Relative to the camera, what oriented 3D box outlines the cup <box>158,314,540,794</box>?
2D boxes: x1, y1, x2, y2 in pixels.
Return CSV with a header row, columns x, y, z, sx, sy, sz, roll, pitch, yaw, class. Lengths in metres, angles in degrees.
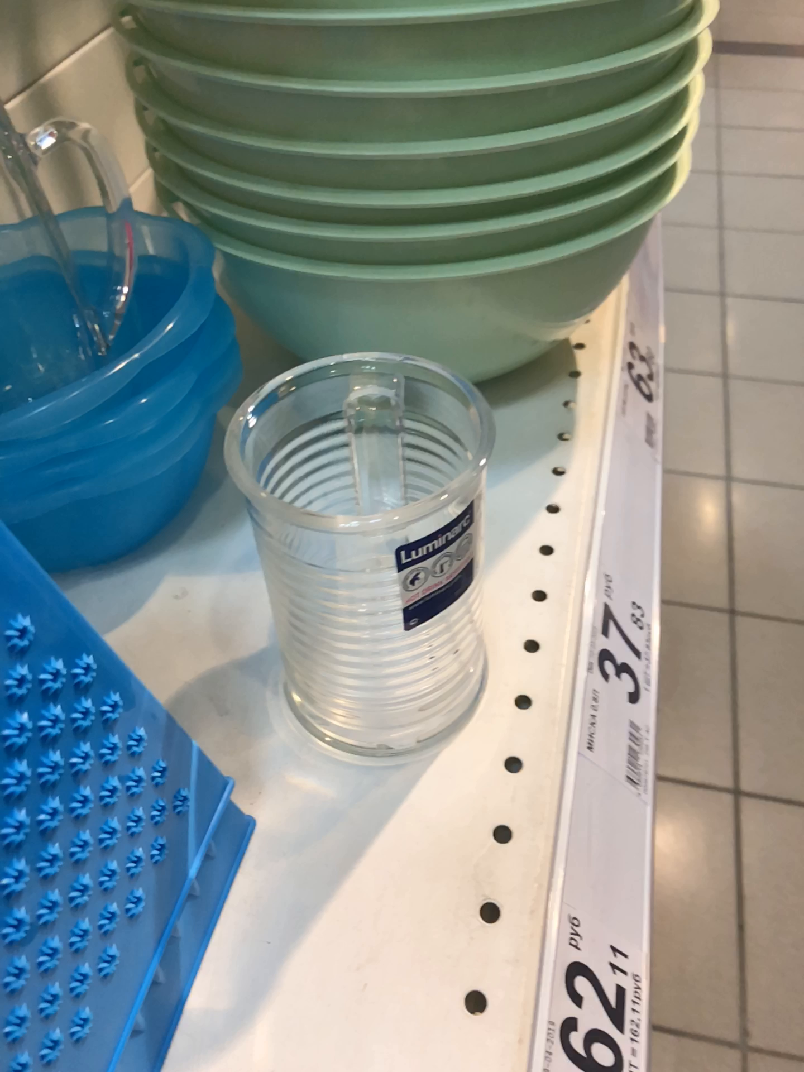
x,y,z,sx,sy,sz,roll,pitch,yaw,class
-0.007,0.005,0.286,0.087,0.104,0.102,6,47,8,cup
